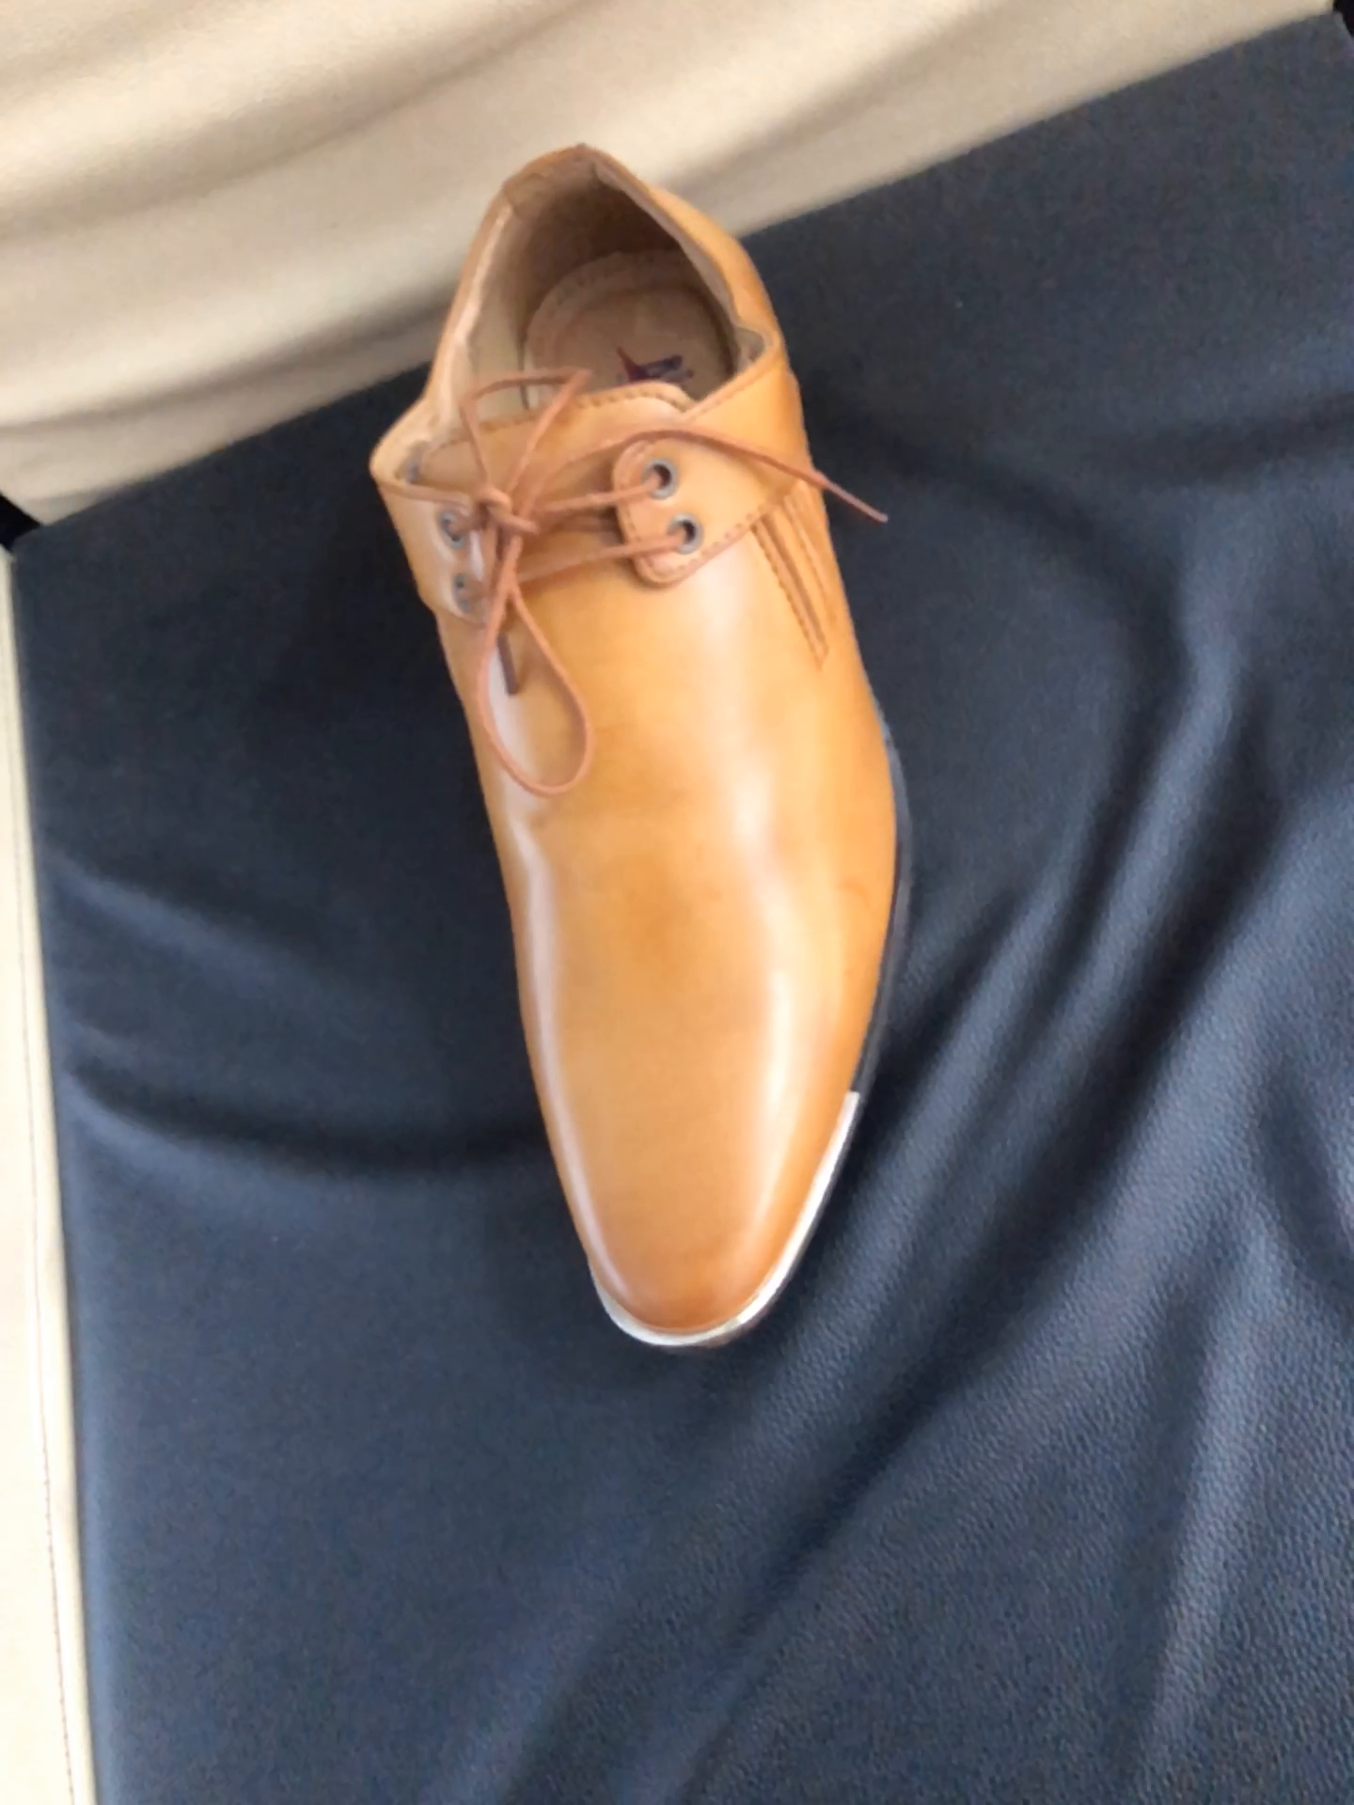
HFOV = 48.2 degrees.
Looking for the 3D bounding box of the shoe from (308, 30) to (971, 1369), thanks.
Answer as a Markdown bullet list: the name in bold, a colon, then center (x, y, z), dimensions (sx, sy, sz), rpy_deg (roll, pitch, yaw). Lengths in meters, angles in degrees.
- **shoe**: center (-0.010, -0.041, 0.336), dimensions (0.110, 0.080, 0.270), rpy_deg (-8, 72, 15)
